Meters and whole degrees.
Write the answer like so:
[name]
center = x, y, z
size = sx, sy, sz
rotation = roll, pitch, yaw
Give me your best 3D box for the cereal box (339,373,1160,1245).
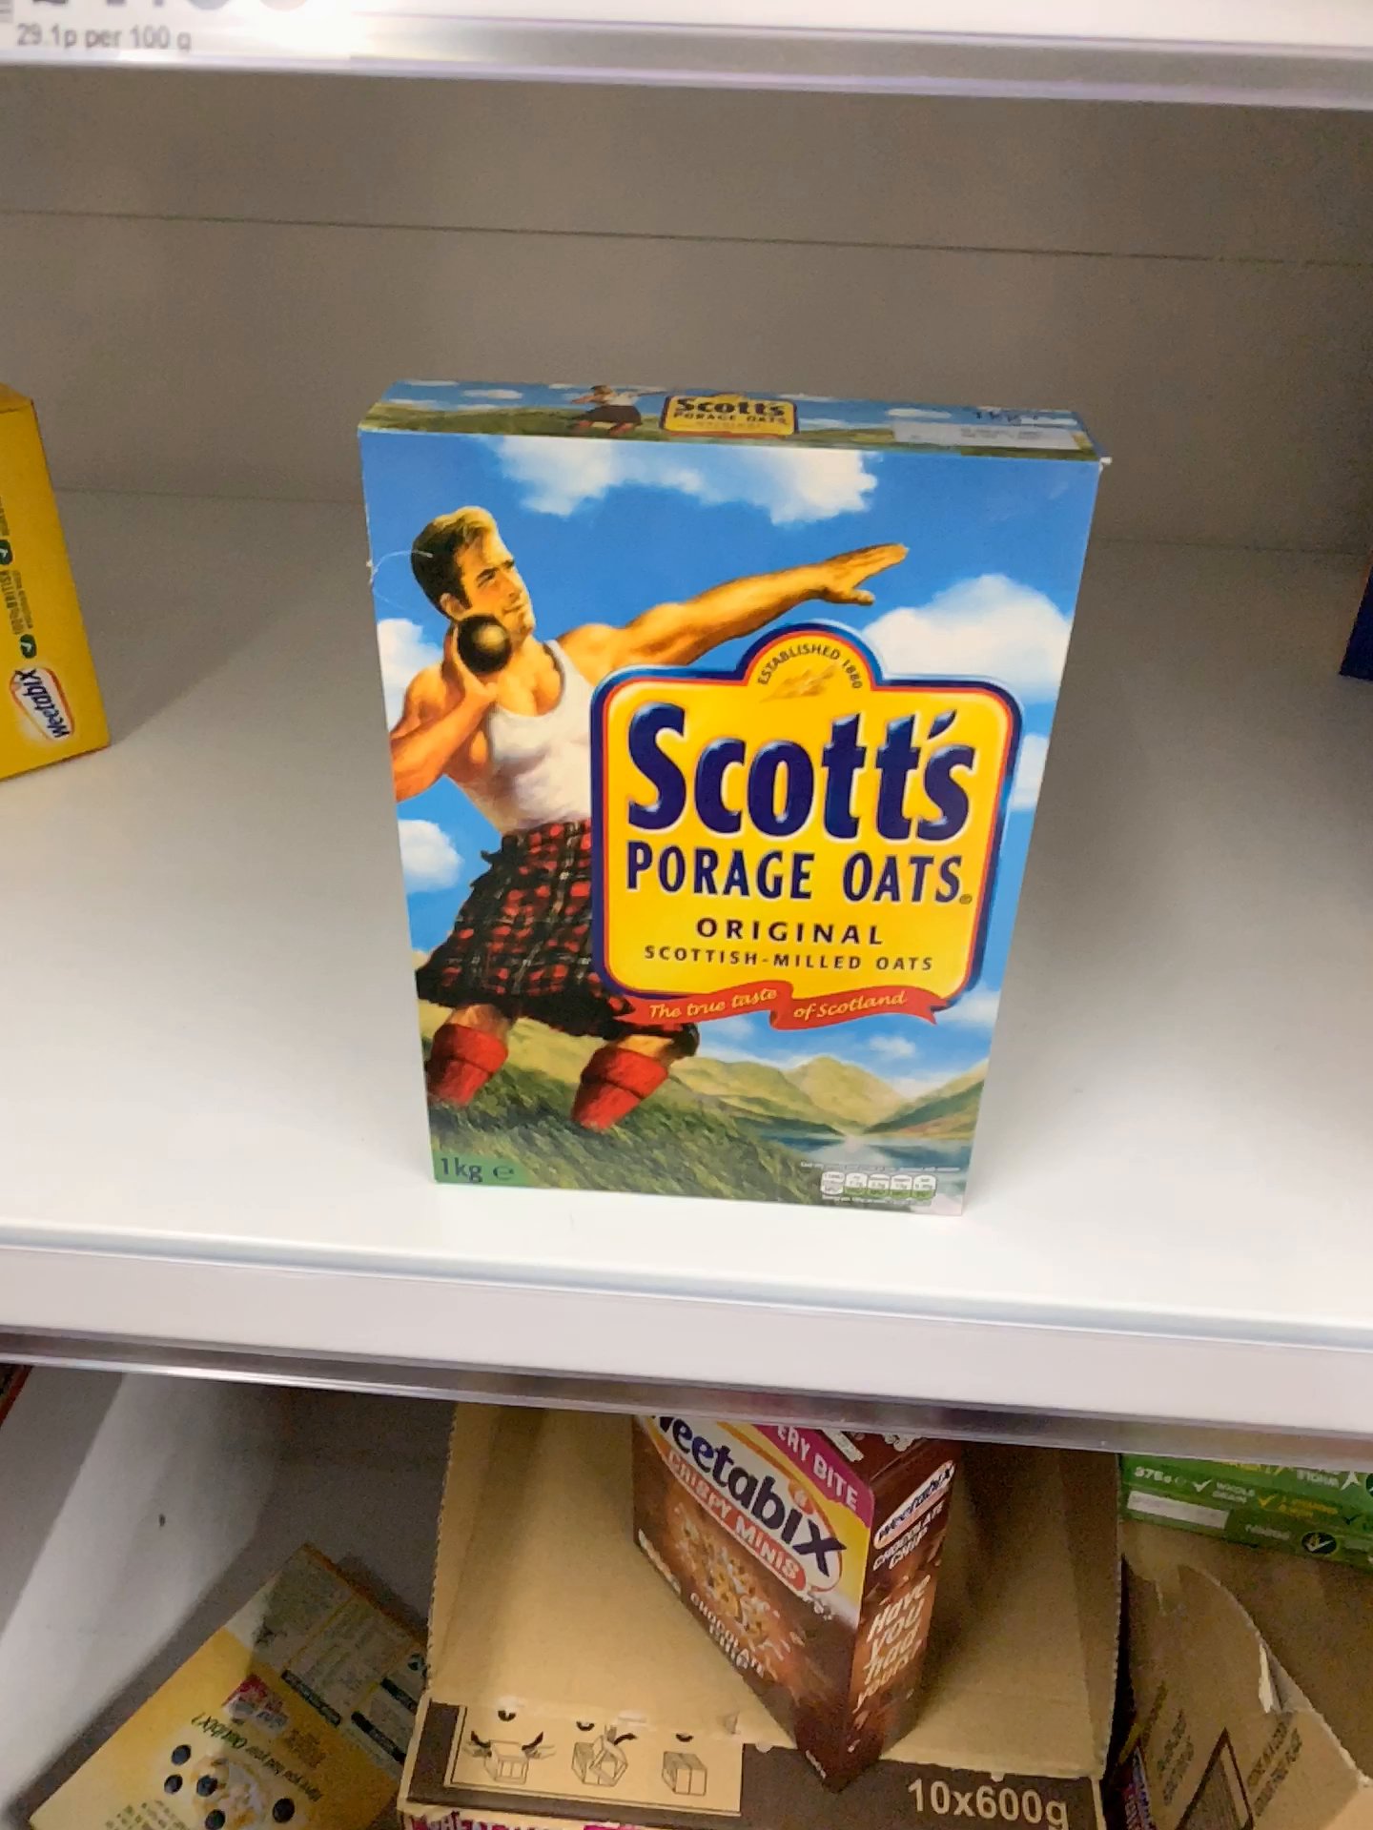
[cereal box]
center = 0.013, -0.020, 0.447
size = 0.200, 0.267, 0.071
rotation = 3, 35, 2
